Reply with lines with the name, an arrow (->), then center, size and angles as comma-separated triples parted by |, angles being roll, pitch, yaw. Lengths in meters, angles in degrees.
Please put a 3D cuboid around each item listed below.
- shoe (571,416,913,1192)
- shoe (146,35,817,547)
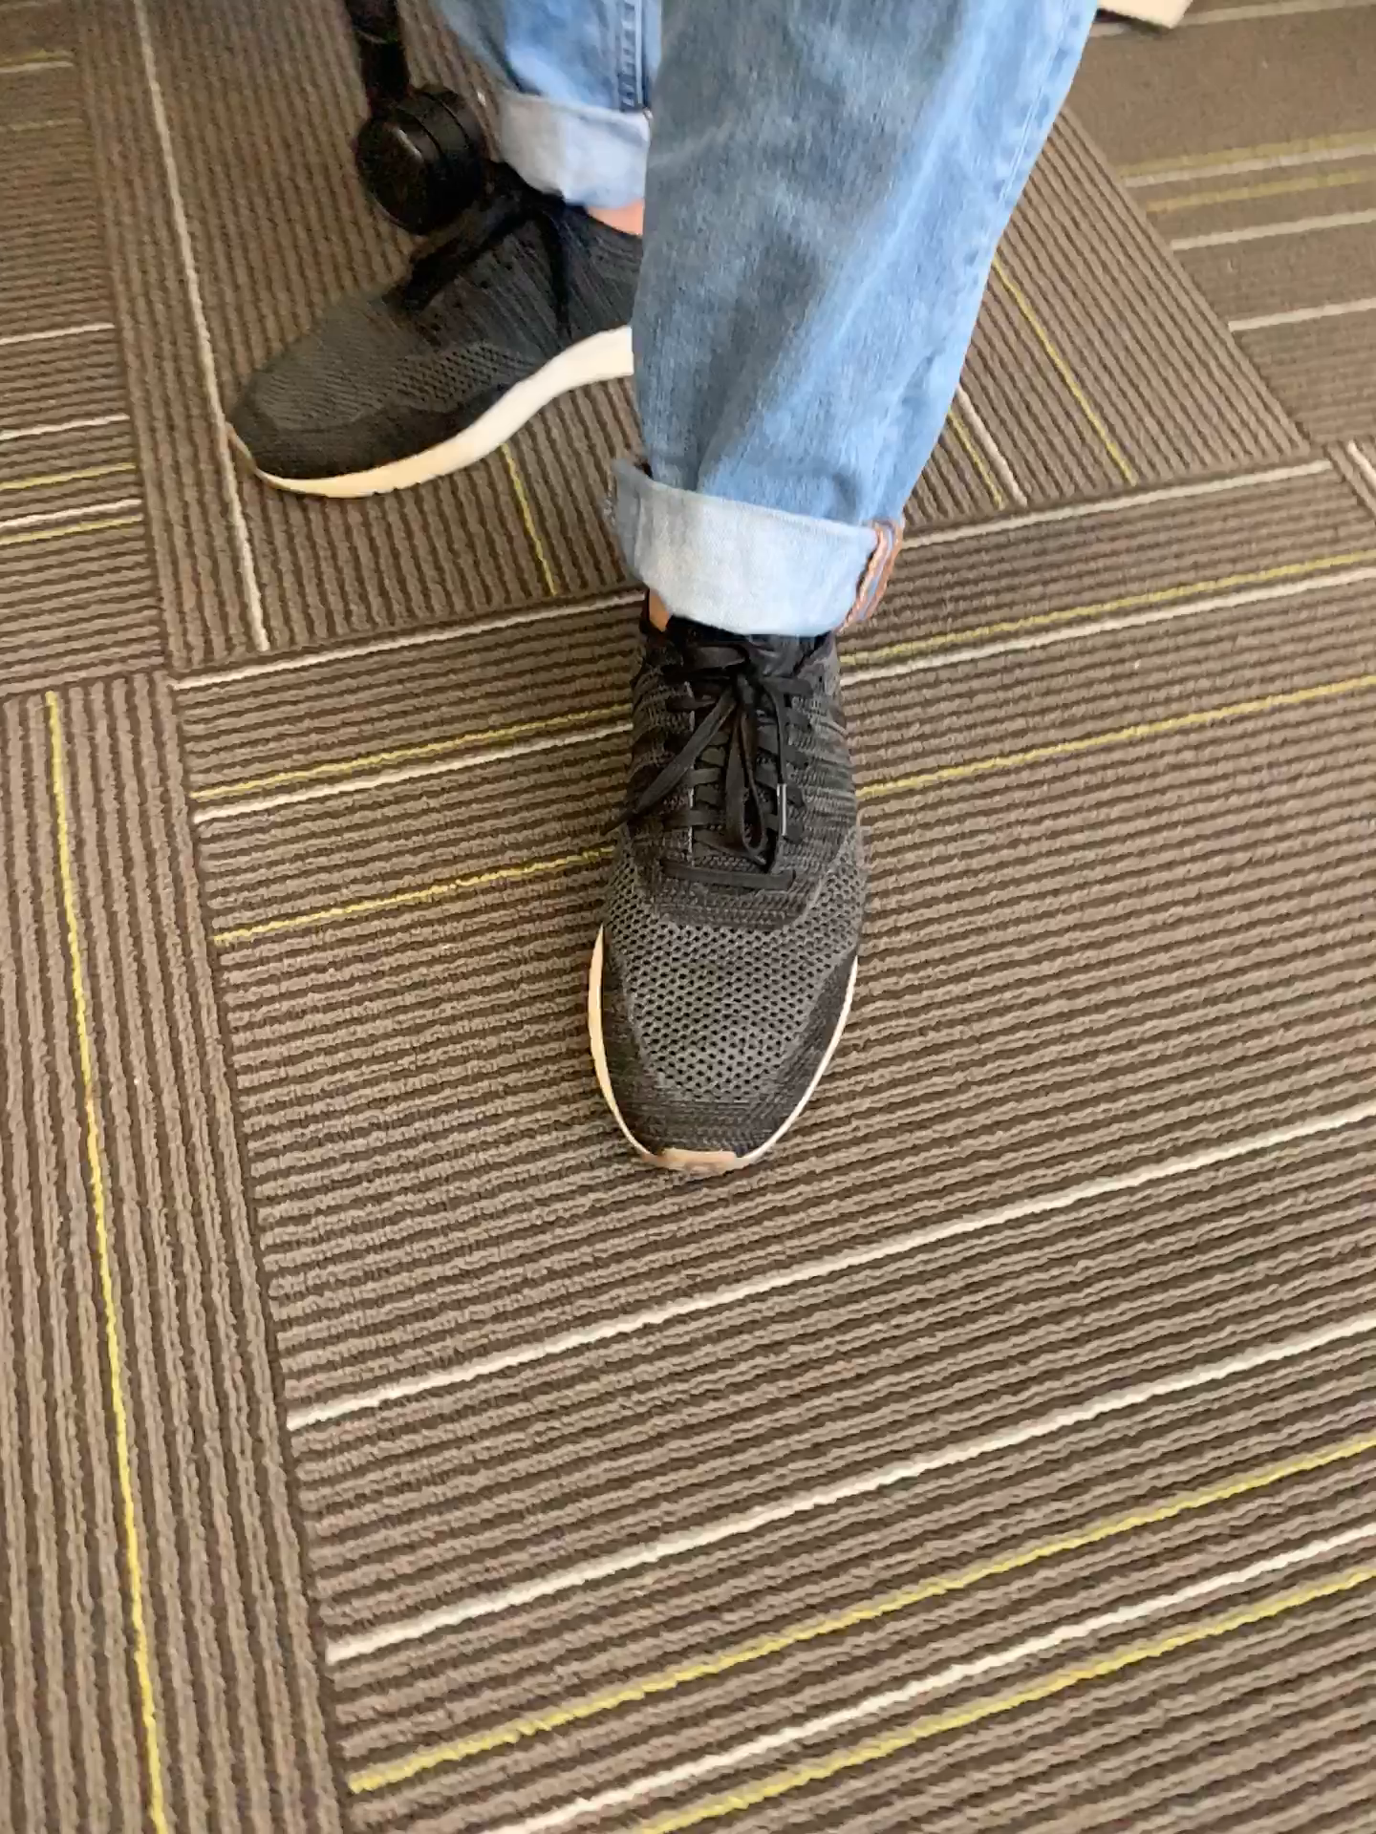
shoe -> 0.021, -0.054, 0.583 | 0.112, 0.106, 0.307 | 3, 61, -1
shoe -> -0.095, -0.324, 0.722 | 0.306, 0.106, 0.110 | -31, 67, -18
